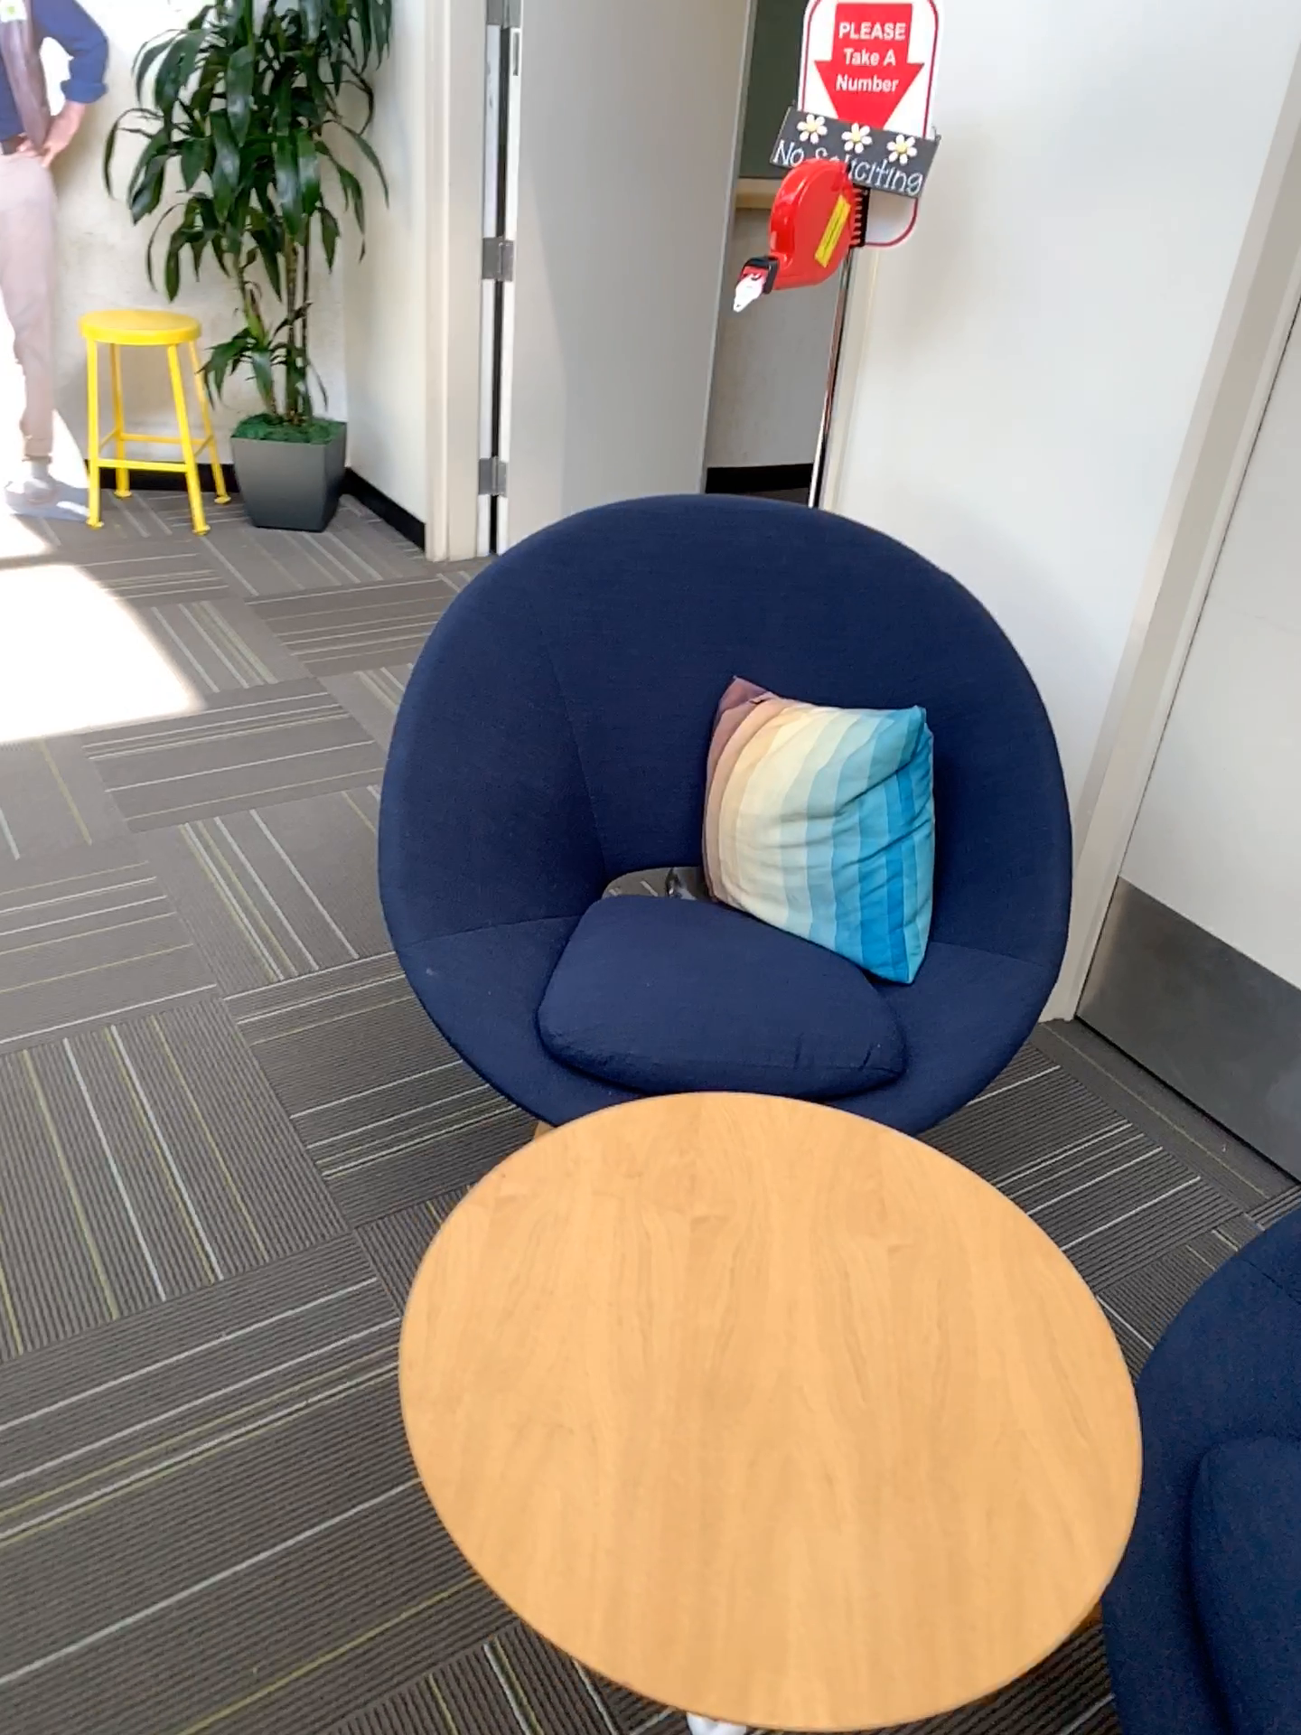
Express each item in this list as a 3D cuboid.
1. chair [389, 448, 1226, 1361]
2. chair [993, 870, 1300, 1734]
[{"bbox_3d":[0.148,-0.004,1.818,0.790,0.835,0.845,7,32,2],"label":"chair"},{"bbox_3d":[0.887,0.691,1.003,0.980,0.944,0.835,9,32,5],"label":"chair"}]
